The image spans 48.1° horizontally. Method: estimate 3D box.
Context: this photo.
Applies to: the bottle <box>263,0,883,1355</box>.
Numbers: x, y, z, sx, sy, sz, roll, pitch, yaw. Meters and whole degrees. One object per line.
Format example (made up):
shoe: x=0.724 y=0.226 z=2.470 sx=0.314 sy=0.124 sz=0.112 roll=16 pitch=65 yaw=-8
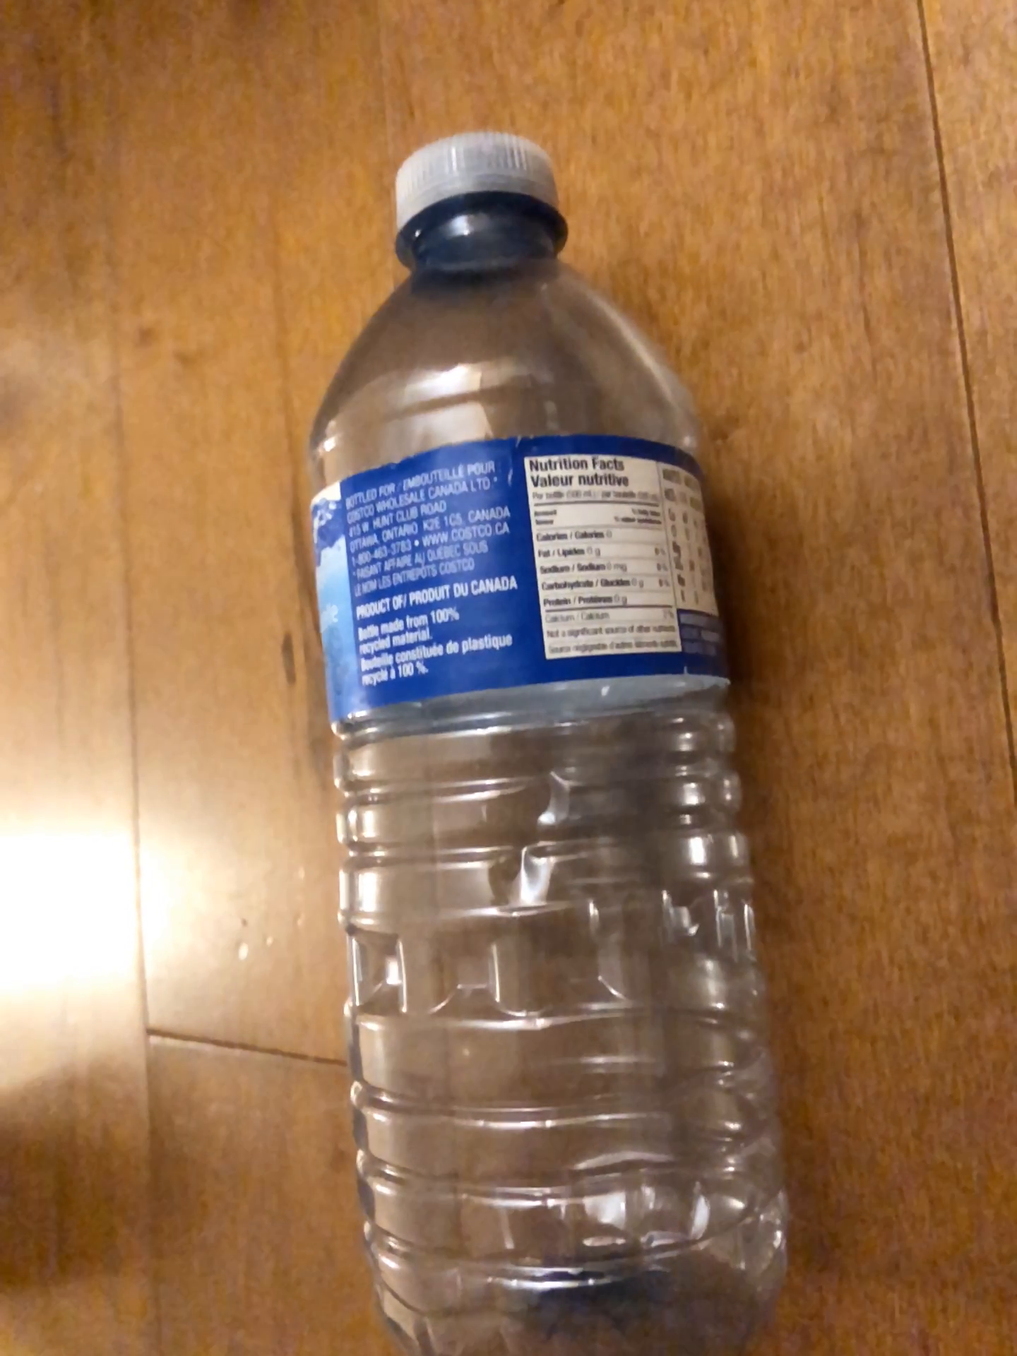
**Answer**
bottle: x=0.006 y=0.000 z=0.193 sx=0.070 sy=0.070 sz=0.200 roll=-5 pitch=82 yaw=1
